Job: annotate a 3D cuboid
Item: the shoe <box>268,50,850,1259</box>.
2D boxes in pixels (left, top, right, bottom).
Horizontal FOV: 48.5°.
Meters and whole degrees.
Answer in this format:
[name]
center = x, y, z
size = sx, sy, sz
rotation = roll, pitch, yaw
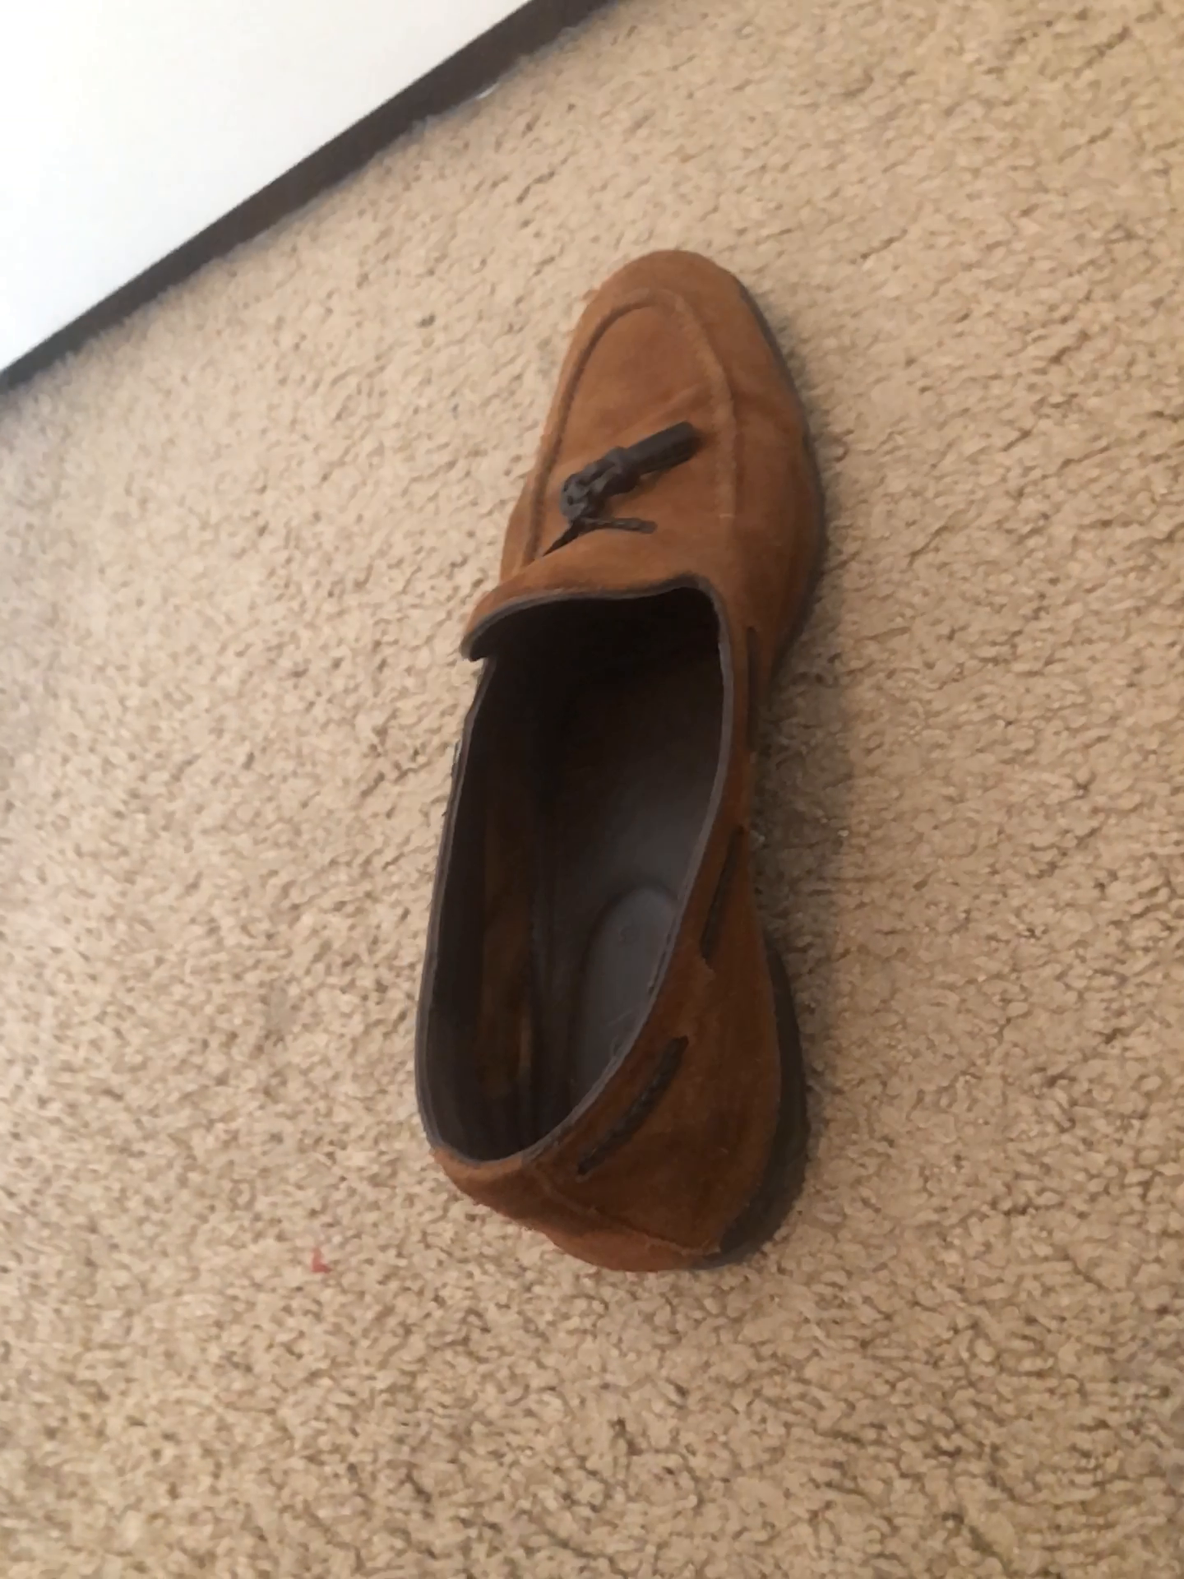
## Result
[shoe]
center = -0.001, -0.032, 0.352
size = 0.091, 0.099, 0.292
rotation = -14, 64, 34
